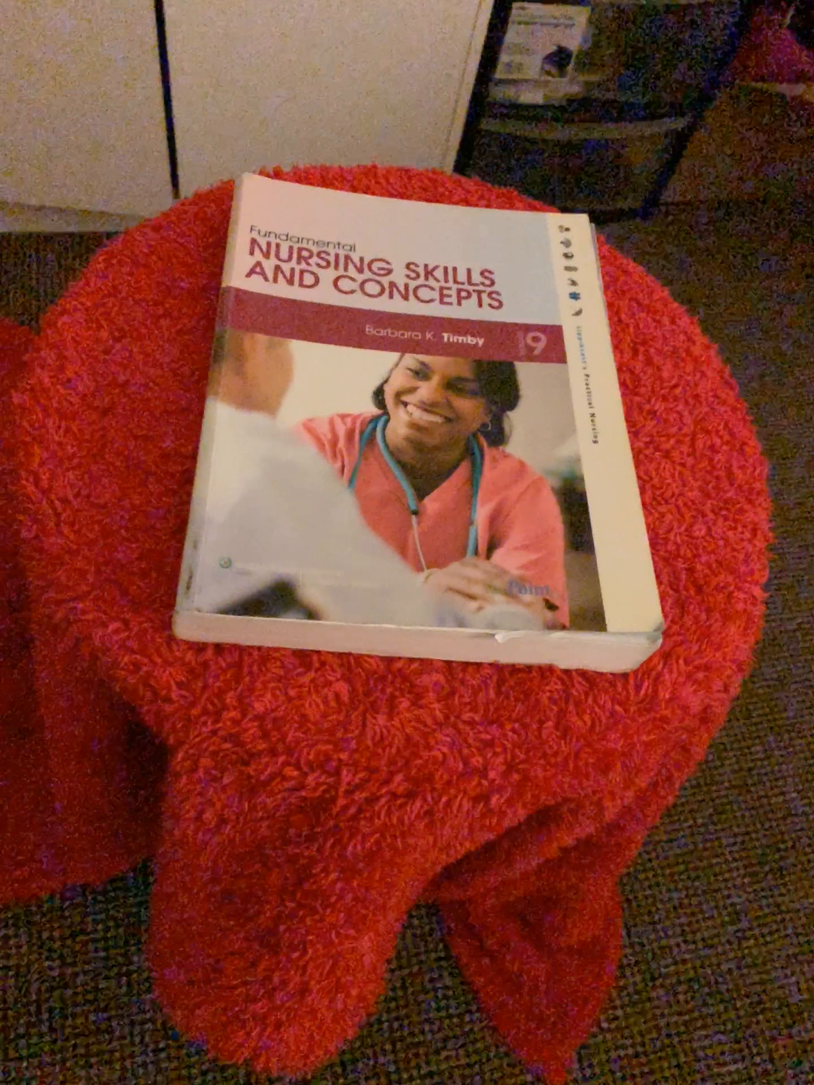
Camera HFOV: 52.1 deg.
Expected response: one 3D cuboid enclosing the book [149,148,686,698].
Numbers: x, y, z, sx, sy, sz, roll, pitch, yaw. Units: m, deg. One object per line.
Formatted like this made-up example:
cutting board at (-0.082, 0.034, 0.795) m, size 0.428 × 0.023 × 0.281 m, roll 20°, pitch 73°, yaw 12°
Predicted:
book at (0.003, -0.076, 0.458) m, size 0.230 × 0.070 × 0.302 m, roll 4°, pitch 59°, yaw -8°
